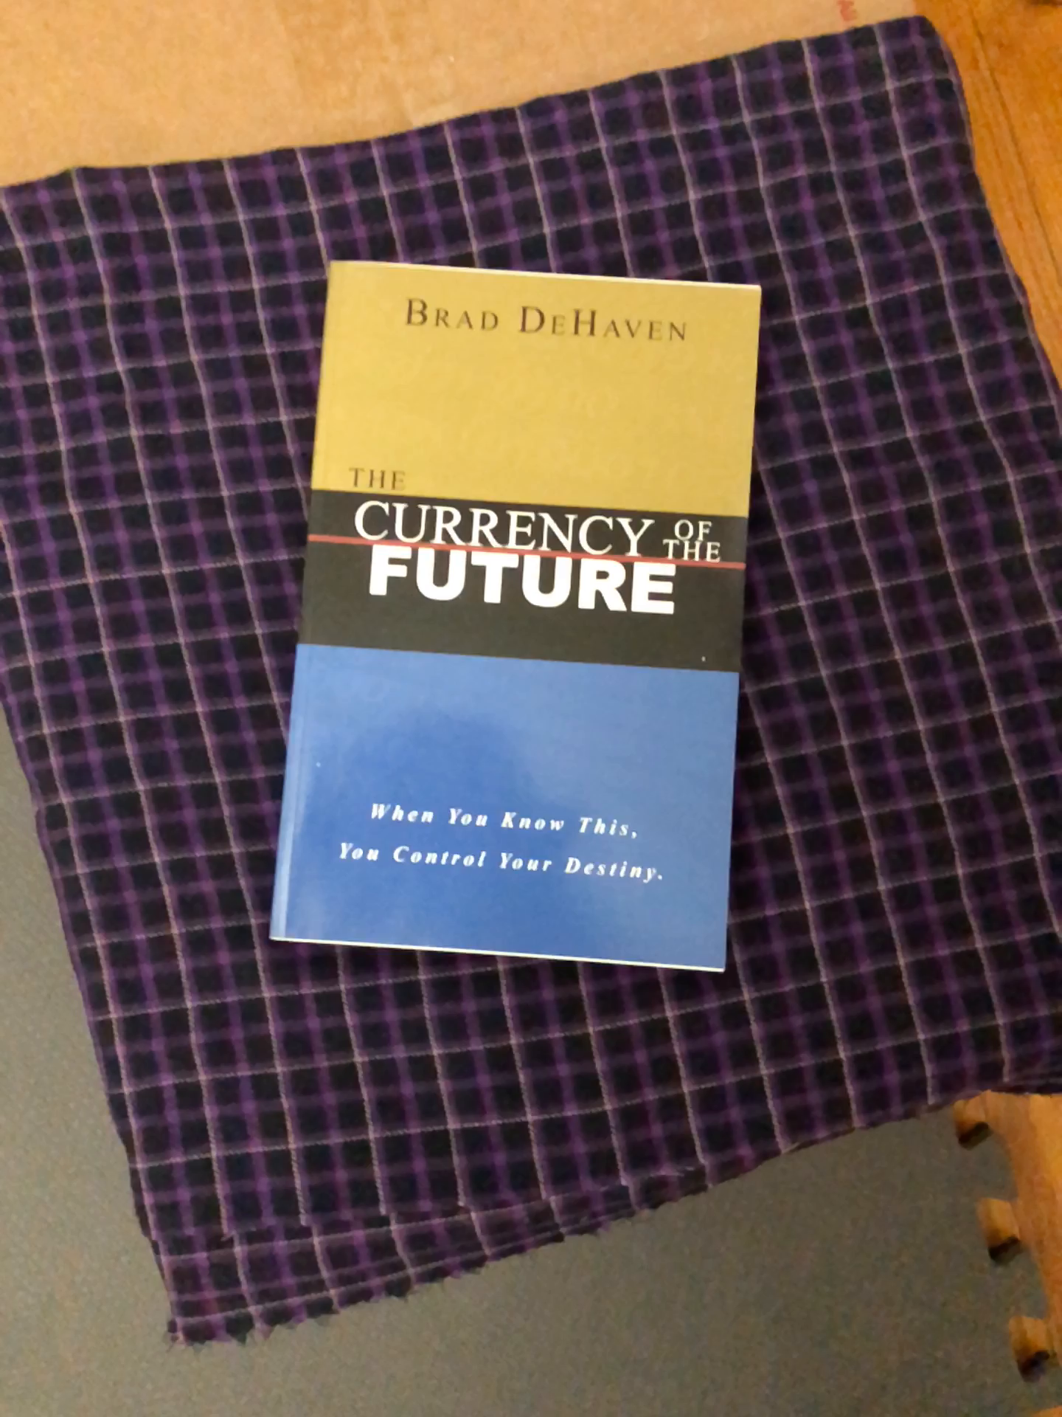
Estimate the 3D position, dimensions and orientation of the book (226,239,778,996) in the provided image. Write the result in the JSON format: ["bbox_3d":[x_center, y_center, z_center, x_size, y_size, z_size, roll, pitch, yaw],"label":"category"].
[{"bbox_3d":[-0.007,-0.030,0.362,0.150,0.020,0.220,4,85,2],"label":"book"}]
